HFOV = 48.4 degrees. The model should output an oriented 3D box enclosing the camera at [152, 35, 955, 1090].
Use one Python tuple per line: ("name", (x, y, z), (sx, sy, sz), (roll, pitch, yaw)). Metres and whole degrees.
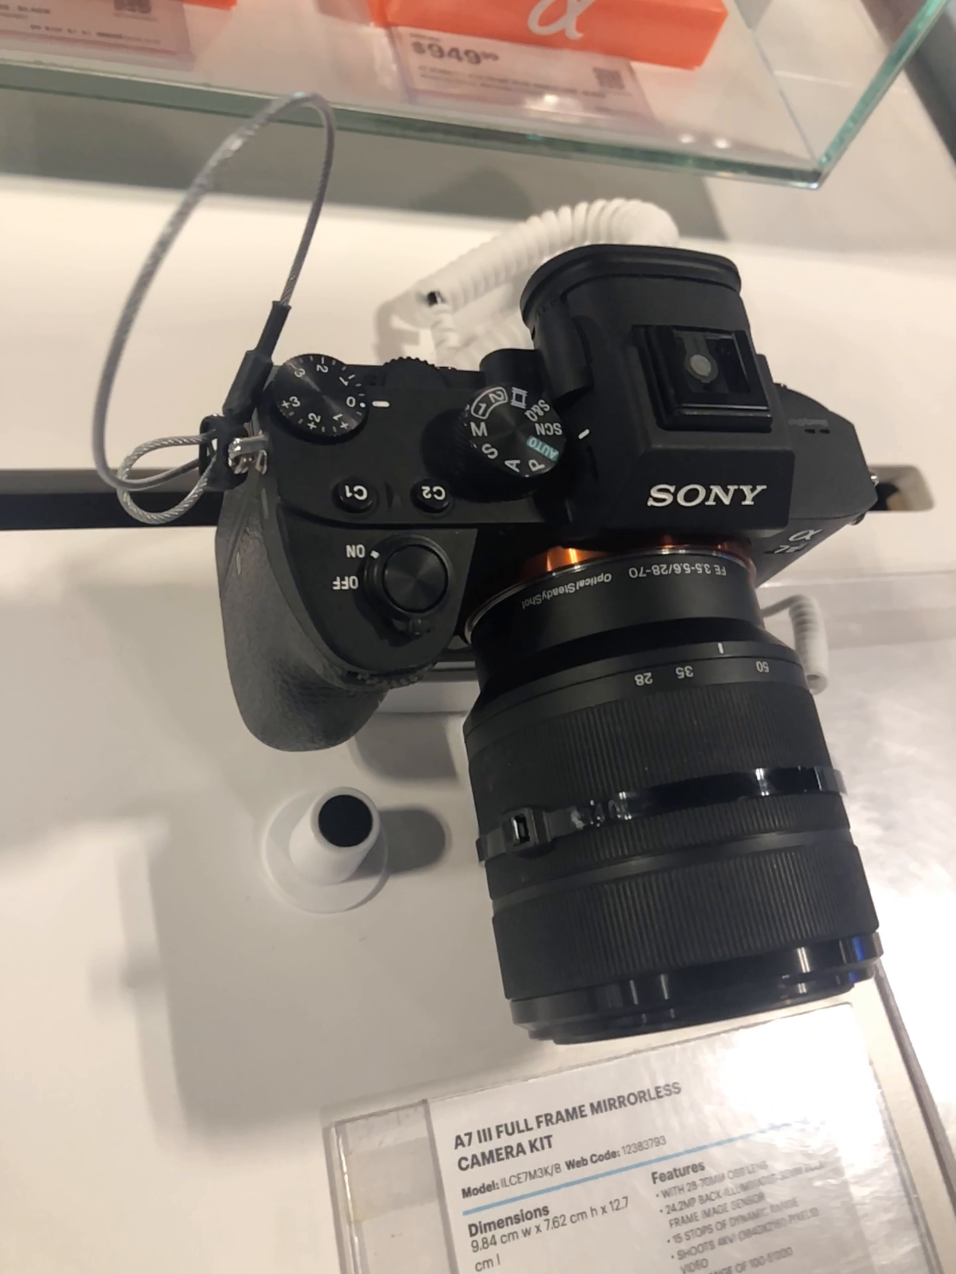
("camera", (0.015, -0.007, 0.186), (0.120, 0.100, 0.130), (-4, 66, -22))
